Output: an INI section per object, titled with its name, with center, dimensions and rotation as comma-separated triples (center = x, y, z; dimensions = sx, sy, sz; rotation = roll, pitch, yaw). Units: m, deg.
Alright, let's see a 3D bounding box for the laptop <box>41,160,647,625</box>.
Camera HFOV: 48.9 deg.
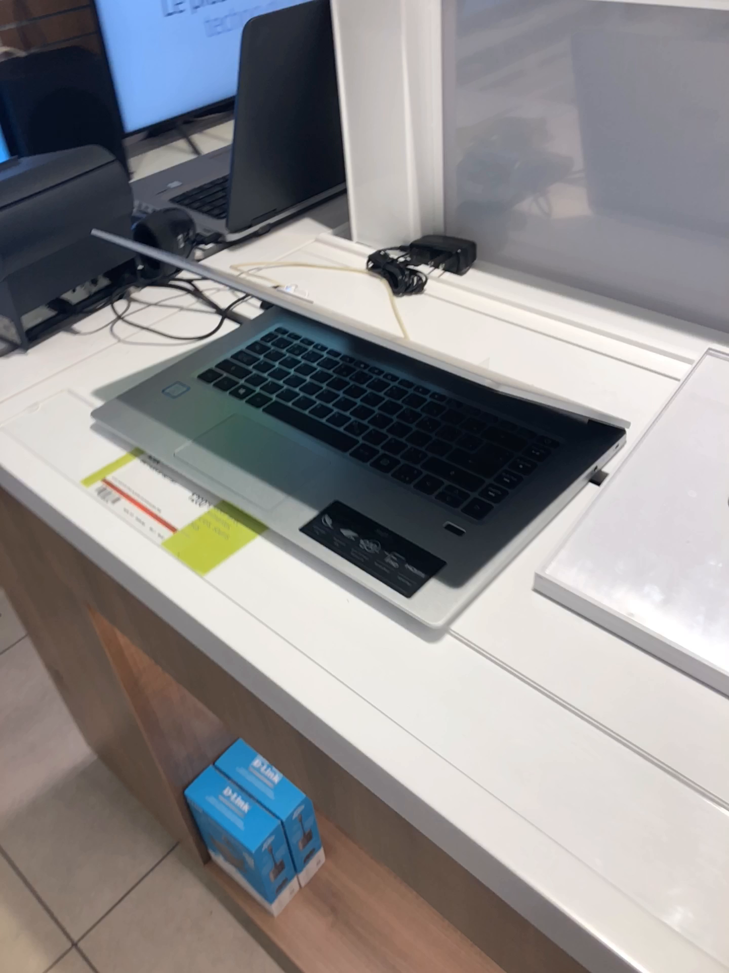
[laptop]
center = -0.022, -0.098, 0.572
dimensions = 0.348, 0.132, 0.217
rotation = 28, 51, 32
